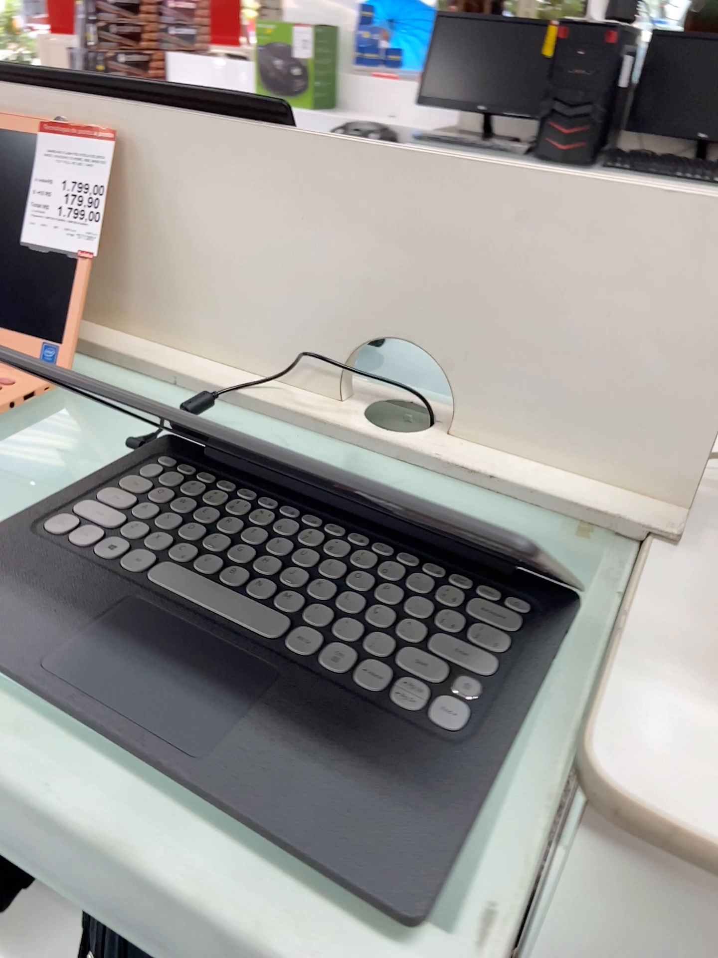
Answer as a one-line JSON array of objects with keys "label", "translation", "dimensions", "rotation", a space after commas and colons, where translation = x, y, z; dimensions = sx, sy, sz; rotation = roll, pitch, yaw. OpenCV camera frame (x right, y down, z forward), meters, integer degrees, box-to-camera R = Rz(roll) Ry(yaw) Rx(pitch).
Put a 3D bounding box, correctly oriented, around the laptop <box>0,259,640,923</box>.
[{"label": "laptop", "translation": [-0.059, 0.007, 0.373], "dimensions": [0.316, 0.132, 0.213], "rotation": [20, 34, 24]}]
